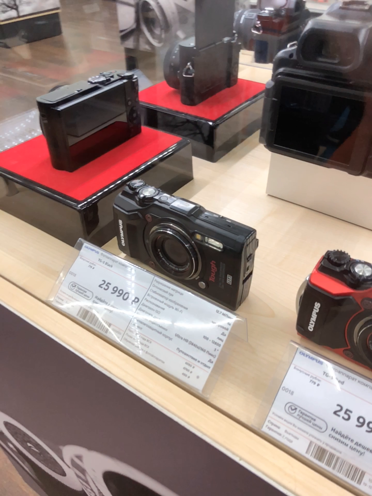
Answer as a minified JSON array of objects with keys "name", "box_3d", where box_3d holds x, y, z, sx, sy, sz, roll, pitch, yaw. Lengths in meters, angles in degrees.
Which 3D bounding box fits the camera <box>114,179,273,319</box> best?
[{"name":"camera","box_3d":[0.002,-0.002,0.309,0.117,0.060,0.030,25,45,28]}]

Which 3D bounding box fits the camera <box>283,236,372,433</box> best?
[{"name":"camera","box_3d":[0.120,0.045,0.235,0.117,0.060,0.030,25,45,28]}]
